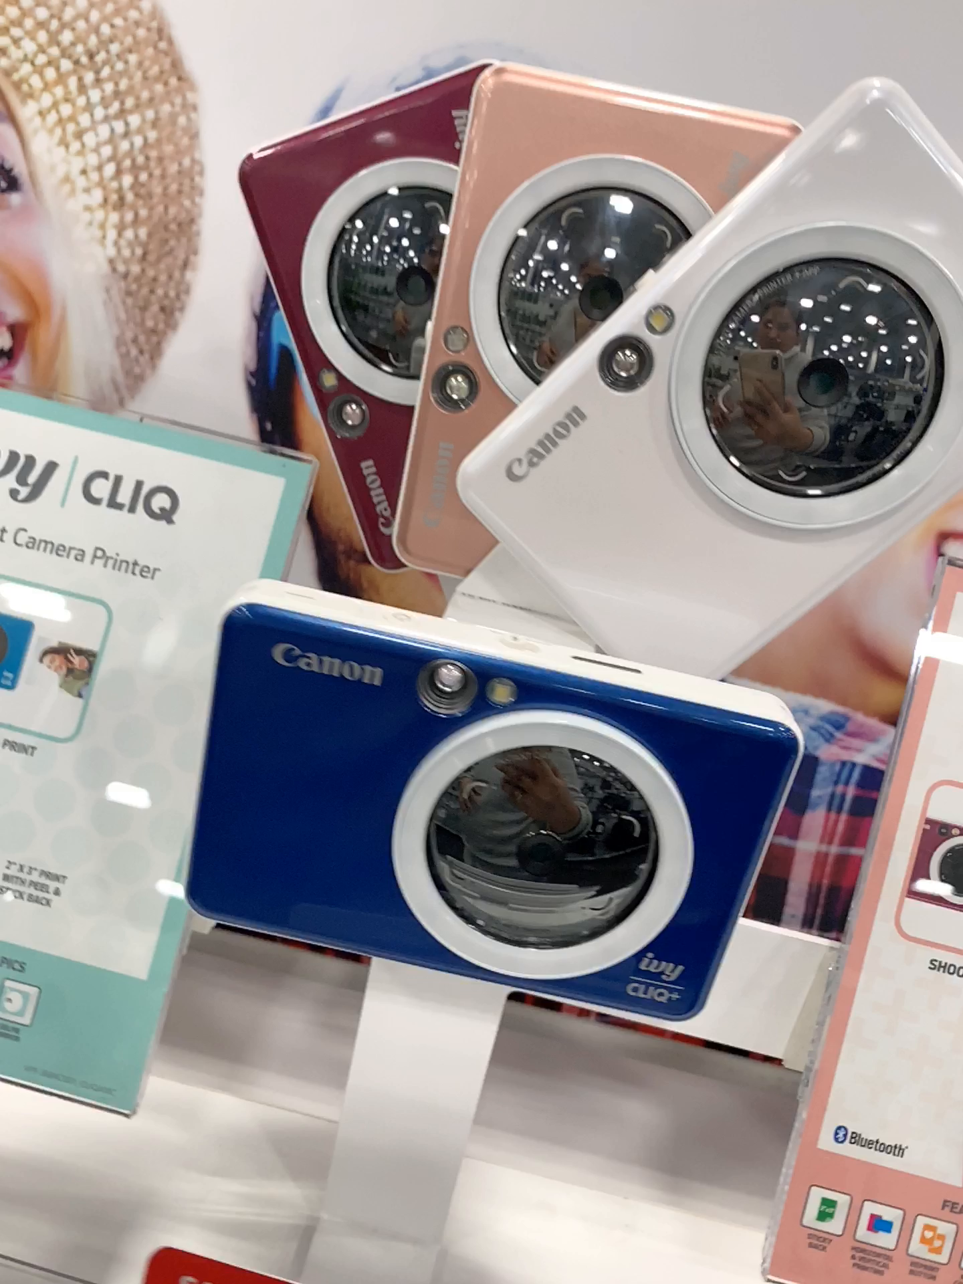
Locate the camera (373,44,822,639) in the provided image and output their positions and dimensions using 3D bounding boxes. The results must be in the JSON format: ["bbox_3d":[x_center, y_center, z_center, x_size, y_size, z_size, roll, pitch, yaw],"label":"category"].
[{"bbox_3d":[0.023,-0.068,0.247,0.078,0.119,0.028,12,21,0],"label":"camera"}]

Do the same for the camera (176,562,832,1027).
[{"bbox_3d":[0.001,0.033,0.215,0.120,0.070,0.028,12,22,0],"label":"camera"}]

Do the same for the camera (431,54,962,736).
[{"bbox_3d":[0.060,-0.048,0.223,0.078,0.120,0.028,46,18,-8],"label":"camera"}]

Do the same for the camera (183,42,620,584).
[{"bbox_3d":[-0.016,-0.080,0.261,0.078,0.110,0.028,-14,21,10],"label":"camera"}]
